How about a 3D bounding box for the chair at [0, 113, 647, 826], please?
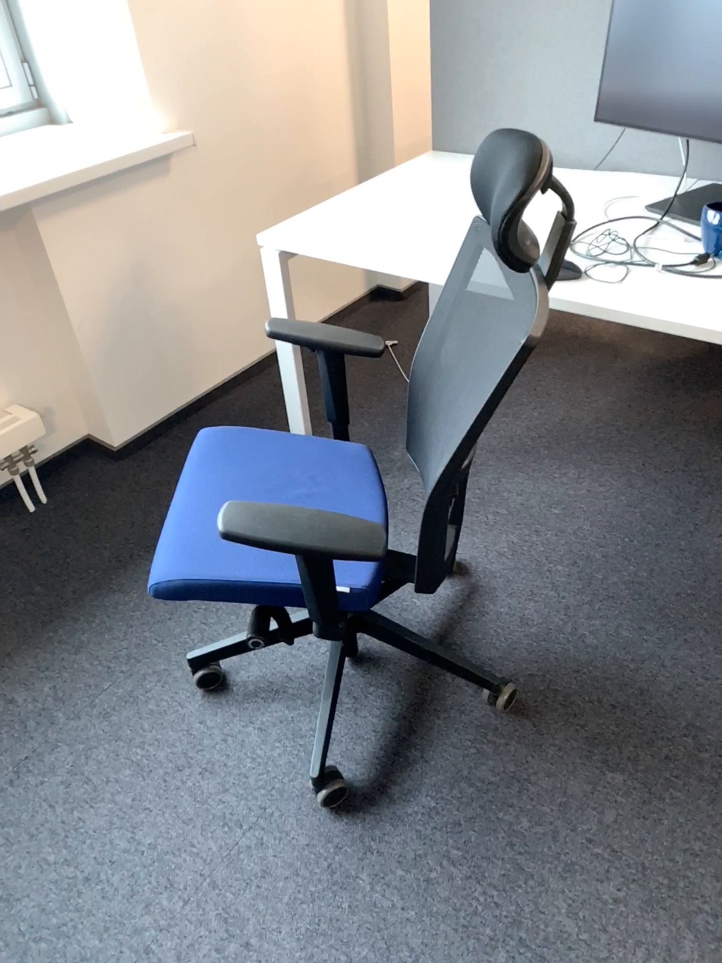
[{"bbox_3d":[-0.026,-0.012,1.397,0.790,1.074,0.754,0,37,8],"label":"chair"}]
